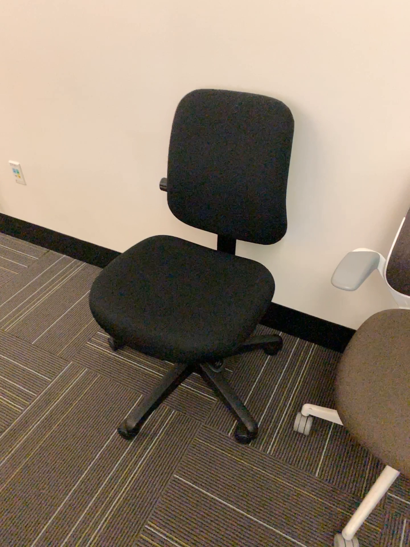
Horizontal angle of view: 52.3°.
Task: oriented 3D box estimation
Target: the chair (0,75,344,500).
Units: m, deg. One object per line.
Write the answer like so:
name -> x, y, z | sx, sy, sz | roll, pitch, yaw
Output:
chair -> -0.064, 0.015, 1.362 | 0.682, 0.994, 0.743 | 17, 43, 21
